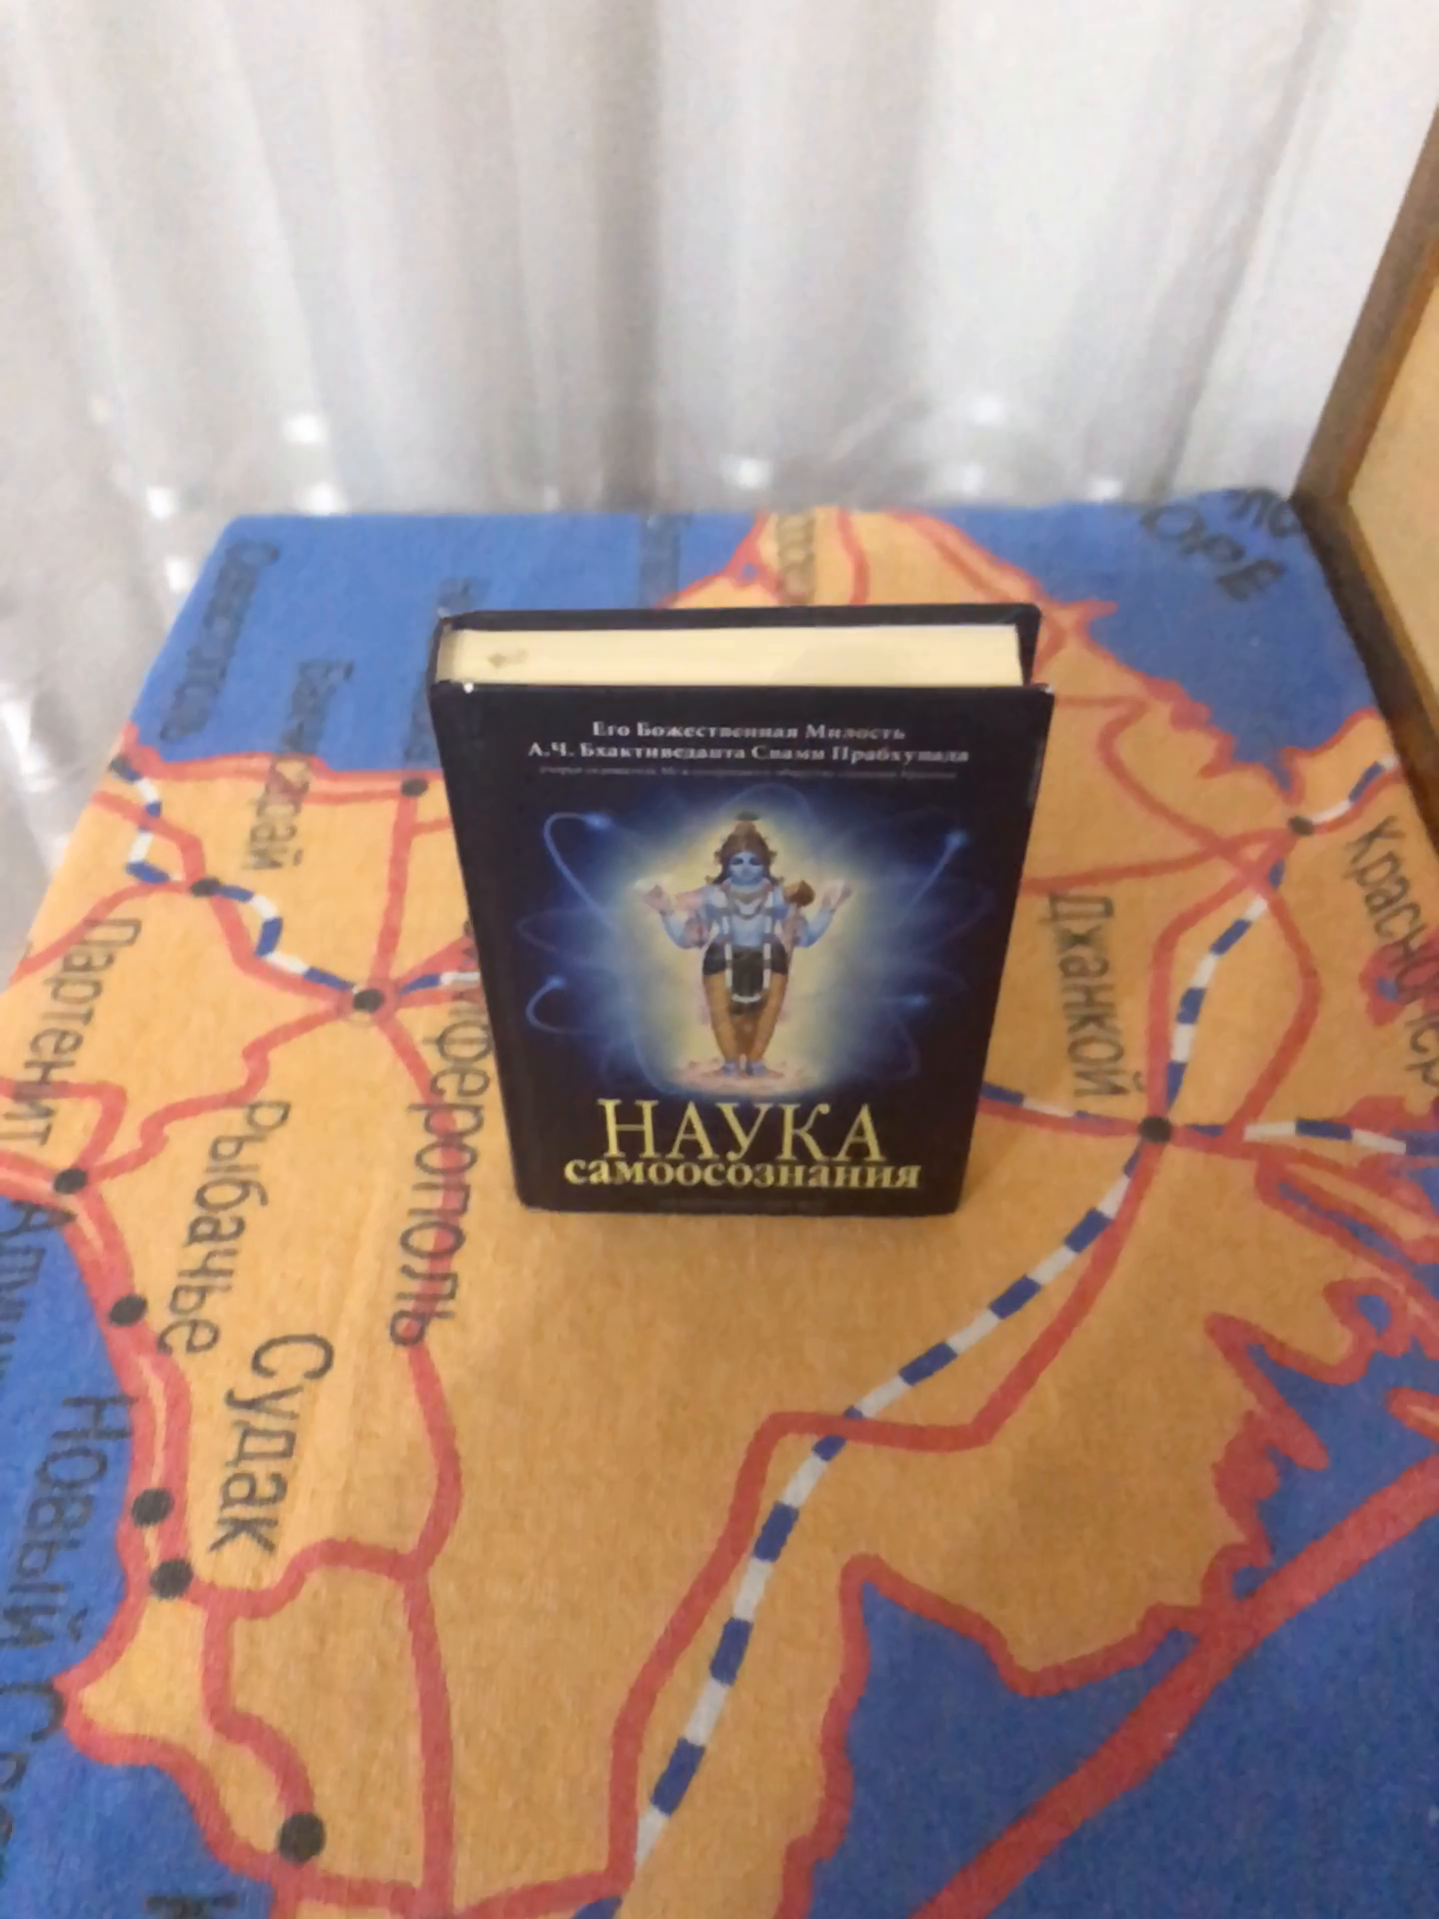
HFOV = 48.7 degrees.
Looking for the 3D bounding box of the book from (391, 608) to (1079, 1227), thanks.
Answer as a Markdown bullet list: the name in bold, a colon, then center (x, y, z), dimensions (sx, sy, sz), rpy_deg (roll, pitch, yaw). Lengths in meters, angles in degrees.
- **book**: center (0.004, 0.003, 0.412), dimensions (0.140, 0.206, 0.030), rpy_deg (0, 50, 0)
